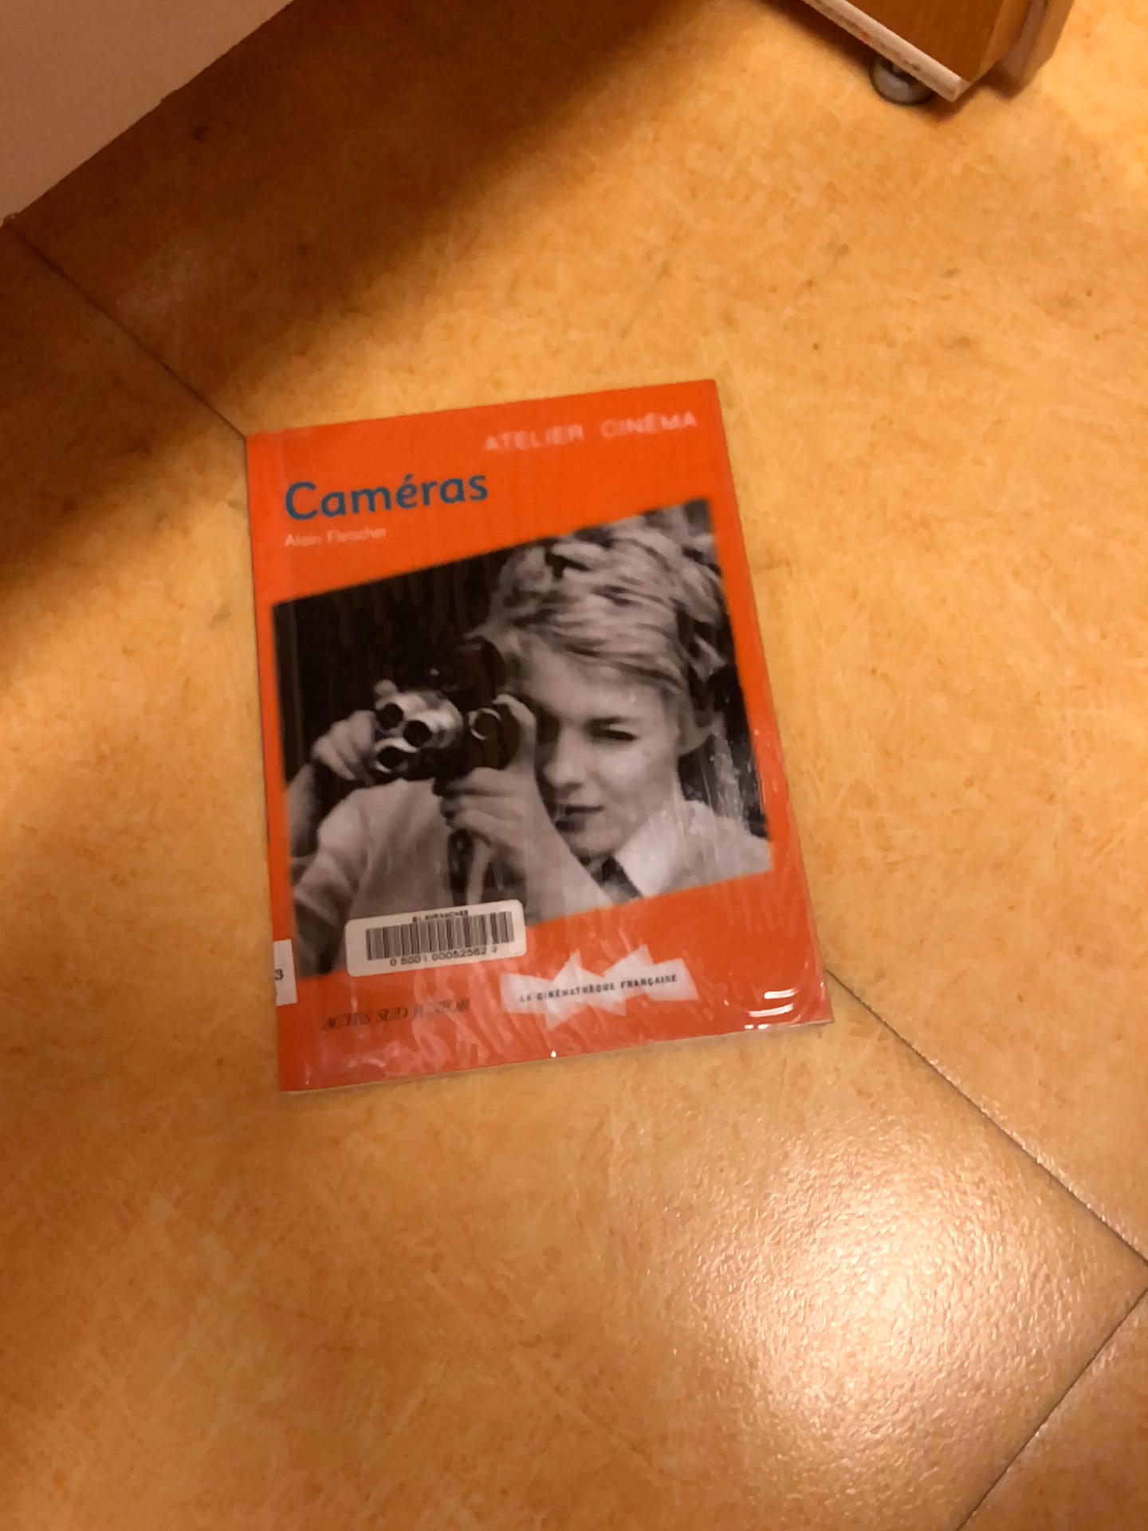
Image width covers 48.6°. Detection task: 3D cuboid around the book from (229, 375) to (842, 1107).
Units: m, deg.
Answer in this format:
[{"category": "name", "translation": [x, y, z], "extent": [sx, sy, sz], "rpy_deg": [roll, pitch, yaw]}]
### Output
[{"category": "book", "translation": [-0.019, -0.015, 0.375], "extent": [0.155, 0.011, 0.205], "rpy_deg": [-8, 71, -1]}]
